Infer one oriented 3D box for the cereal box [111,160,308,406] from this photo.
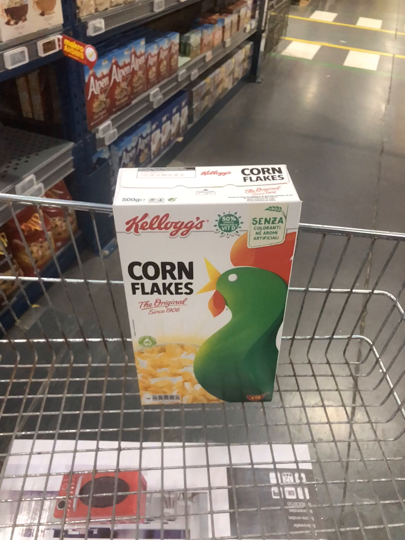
[{"bbox_3d":[0.005,0.034,0.572,0.190,0.329,0.090,-2,39,-2],"label":"cereal box"}]
